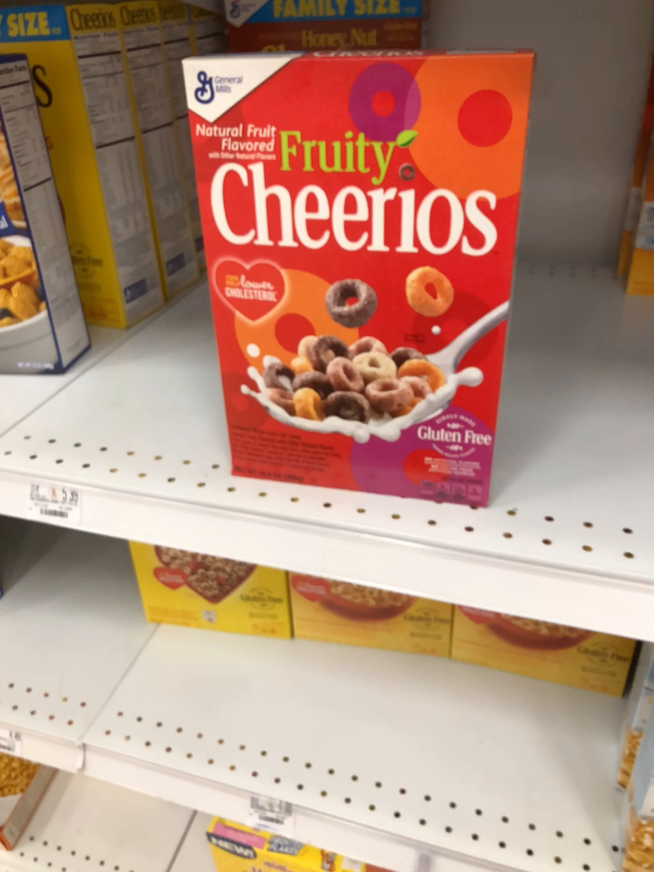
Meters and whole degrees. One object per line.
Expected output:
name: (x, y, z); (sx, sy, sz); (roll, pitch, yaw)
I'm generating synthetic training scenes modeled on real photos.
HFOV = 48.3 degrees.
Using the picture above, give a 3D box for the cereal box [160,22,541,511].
cereal box: (0.020, -0.097, 0.476); (0.200, 0.289, 0.060); (6, 33, 15)
